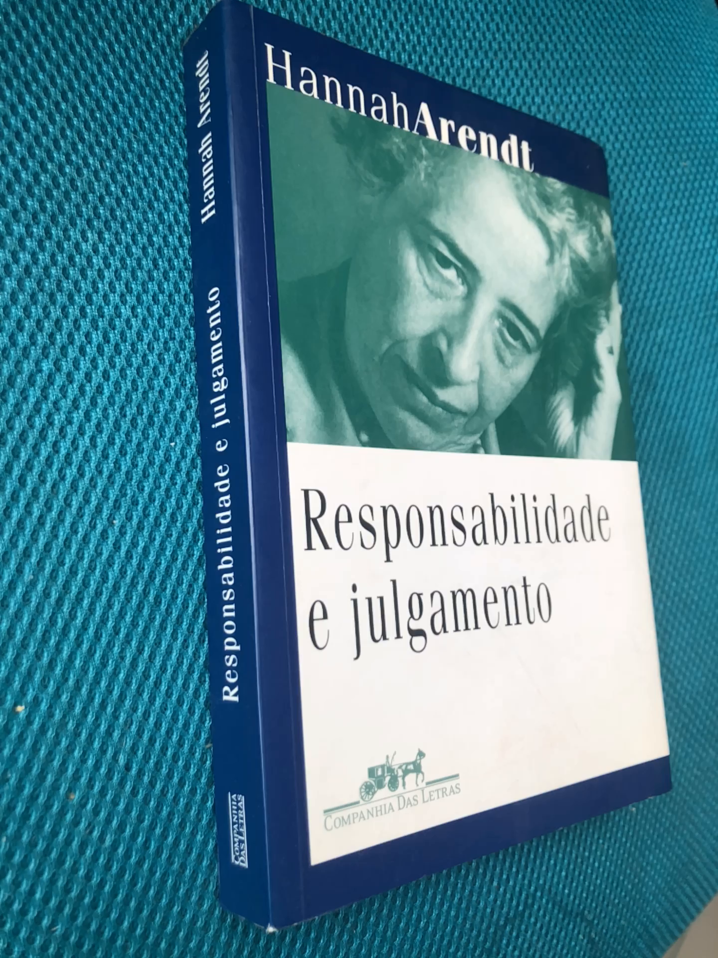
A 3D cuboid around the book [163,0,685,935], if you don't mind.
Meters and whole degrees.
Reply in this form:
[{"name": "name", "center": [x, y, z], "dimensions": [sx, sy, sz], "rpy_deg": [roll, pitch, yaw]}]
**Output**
[{"name": "book", "center": [0.023, -0.009, 0.228], "dimensions": [0.142, 0.034, 0.209], "rpy_deg": [1, 81, -35]}]
